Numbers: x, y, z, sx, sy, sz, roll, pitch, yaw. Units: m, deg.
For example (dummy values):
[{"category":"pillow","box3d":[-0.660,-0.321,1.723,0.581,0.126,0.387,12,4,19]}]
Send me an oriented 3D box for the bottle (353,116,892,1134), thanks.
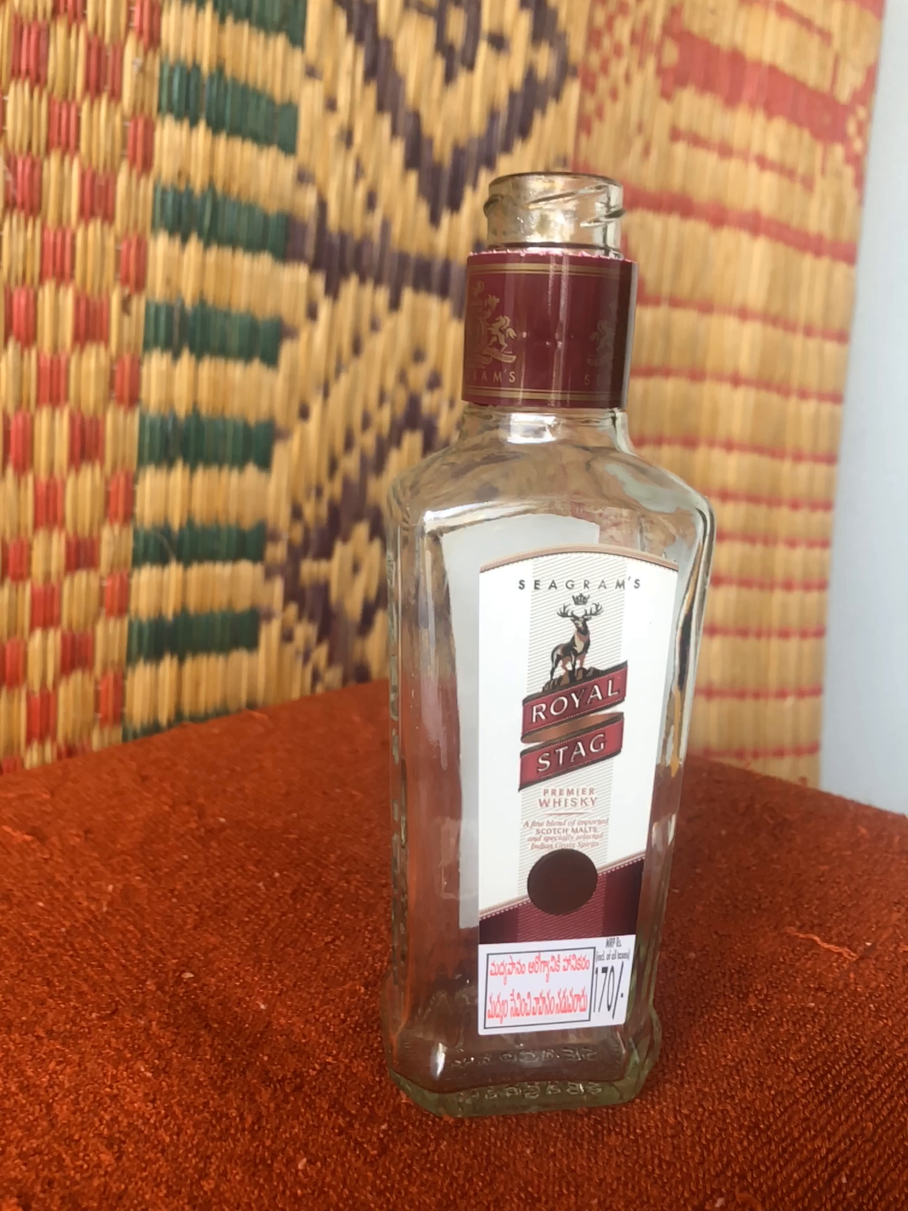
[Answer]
[{"category":"bottle","box3d":[0.019,0.006,0.187,0.060,0.159,0.060,5,15,-1]}]
